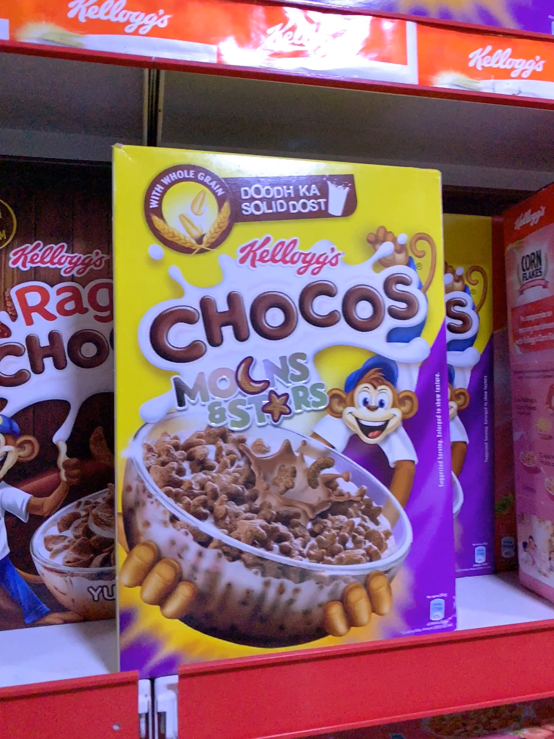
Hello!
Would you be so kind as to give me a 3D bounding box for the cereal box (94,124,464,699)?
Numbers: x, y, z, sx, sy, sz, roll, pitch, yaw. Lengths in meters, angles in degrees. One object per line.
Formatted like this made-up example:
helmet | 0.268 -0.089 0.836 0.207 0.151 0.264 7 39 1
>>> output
cereal box | 0.000 0.016 0.303 0.180 0.250 0.060 0 -1 -15
